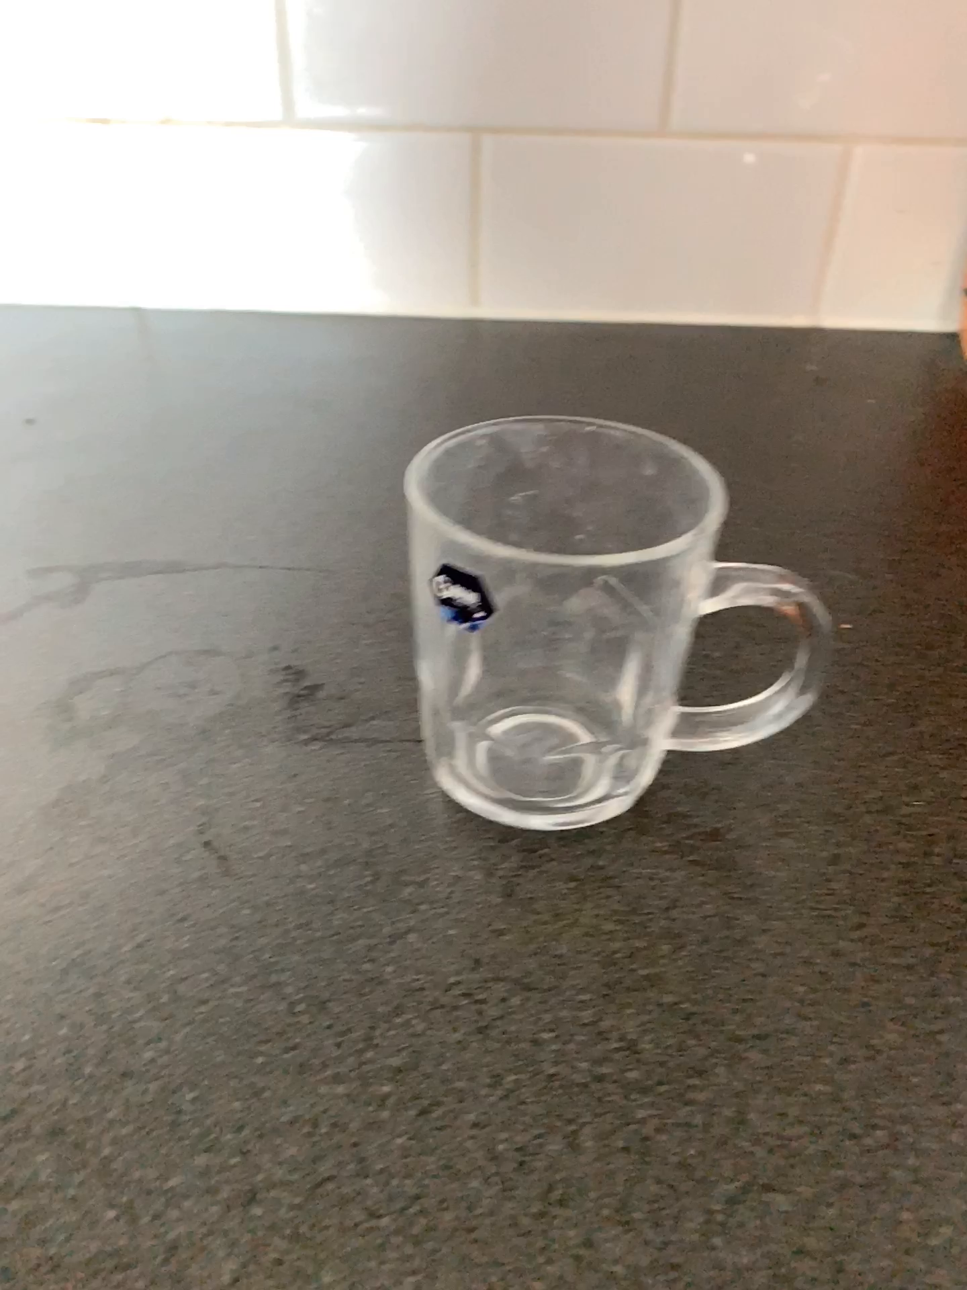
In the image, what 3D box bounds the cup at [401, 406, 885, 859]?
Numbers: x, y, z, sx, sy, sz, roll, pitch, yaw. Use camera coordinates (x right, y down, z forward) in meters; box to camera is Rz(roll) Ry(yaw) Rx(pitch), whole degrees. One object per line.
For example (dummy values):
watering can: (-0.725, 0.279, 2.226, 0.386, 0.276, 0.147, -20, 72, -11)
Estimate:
cup: (0.031, -0.005, 0.261, 0.100, 0.089, 0.071, -2, 35, -5)
